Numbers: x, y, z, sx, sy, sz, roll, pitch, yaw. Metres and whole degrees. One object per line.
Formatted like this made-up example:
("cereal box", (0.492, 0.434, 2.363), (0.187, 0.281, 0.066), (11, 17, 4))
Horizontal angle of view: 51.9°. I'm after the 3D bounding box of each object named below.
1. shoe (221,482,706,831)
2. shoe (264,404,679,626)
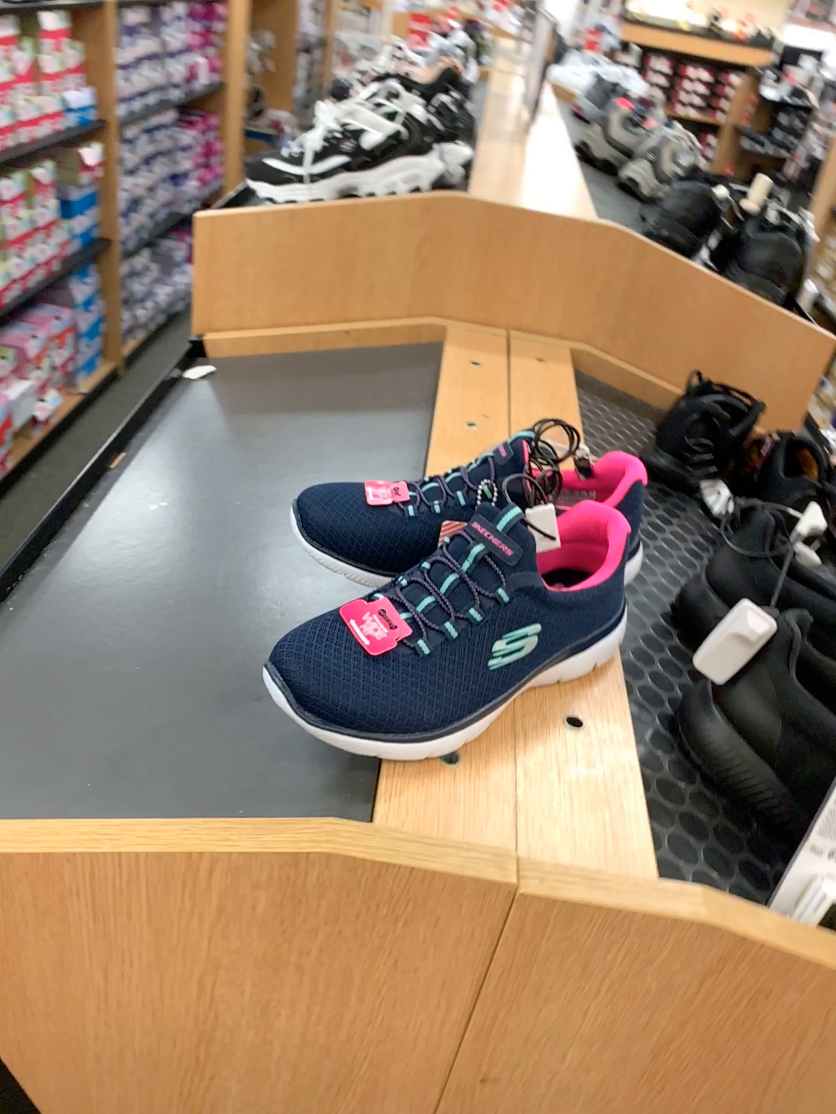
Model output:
("shoe", (0.030, 0.041, 0.496), (0.261, 0.090, 0.100), (-15, 42, -33))
("shoe", (0.027, -0.028, 0.588), (0.250, 0.099, 0.111), (1, 35, -15))
